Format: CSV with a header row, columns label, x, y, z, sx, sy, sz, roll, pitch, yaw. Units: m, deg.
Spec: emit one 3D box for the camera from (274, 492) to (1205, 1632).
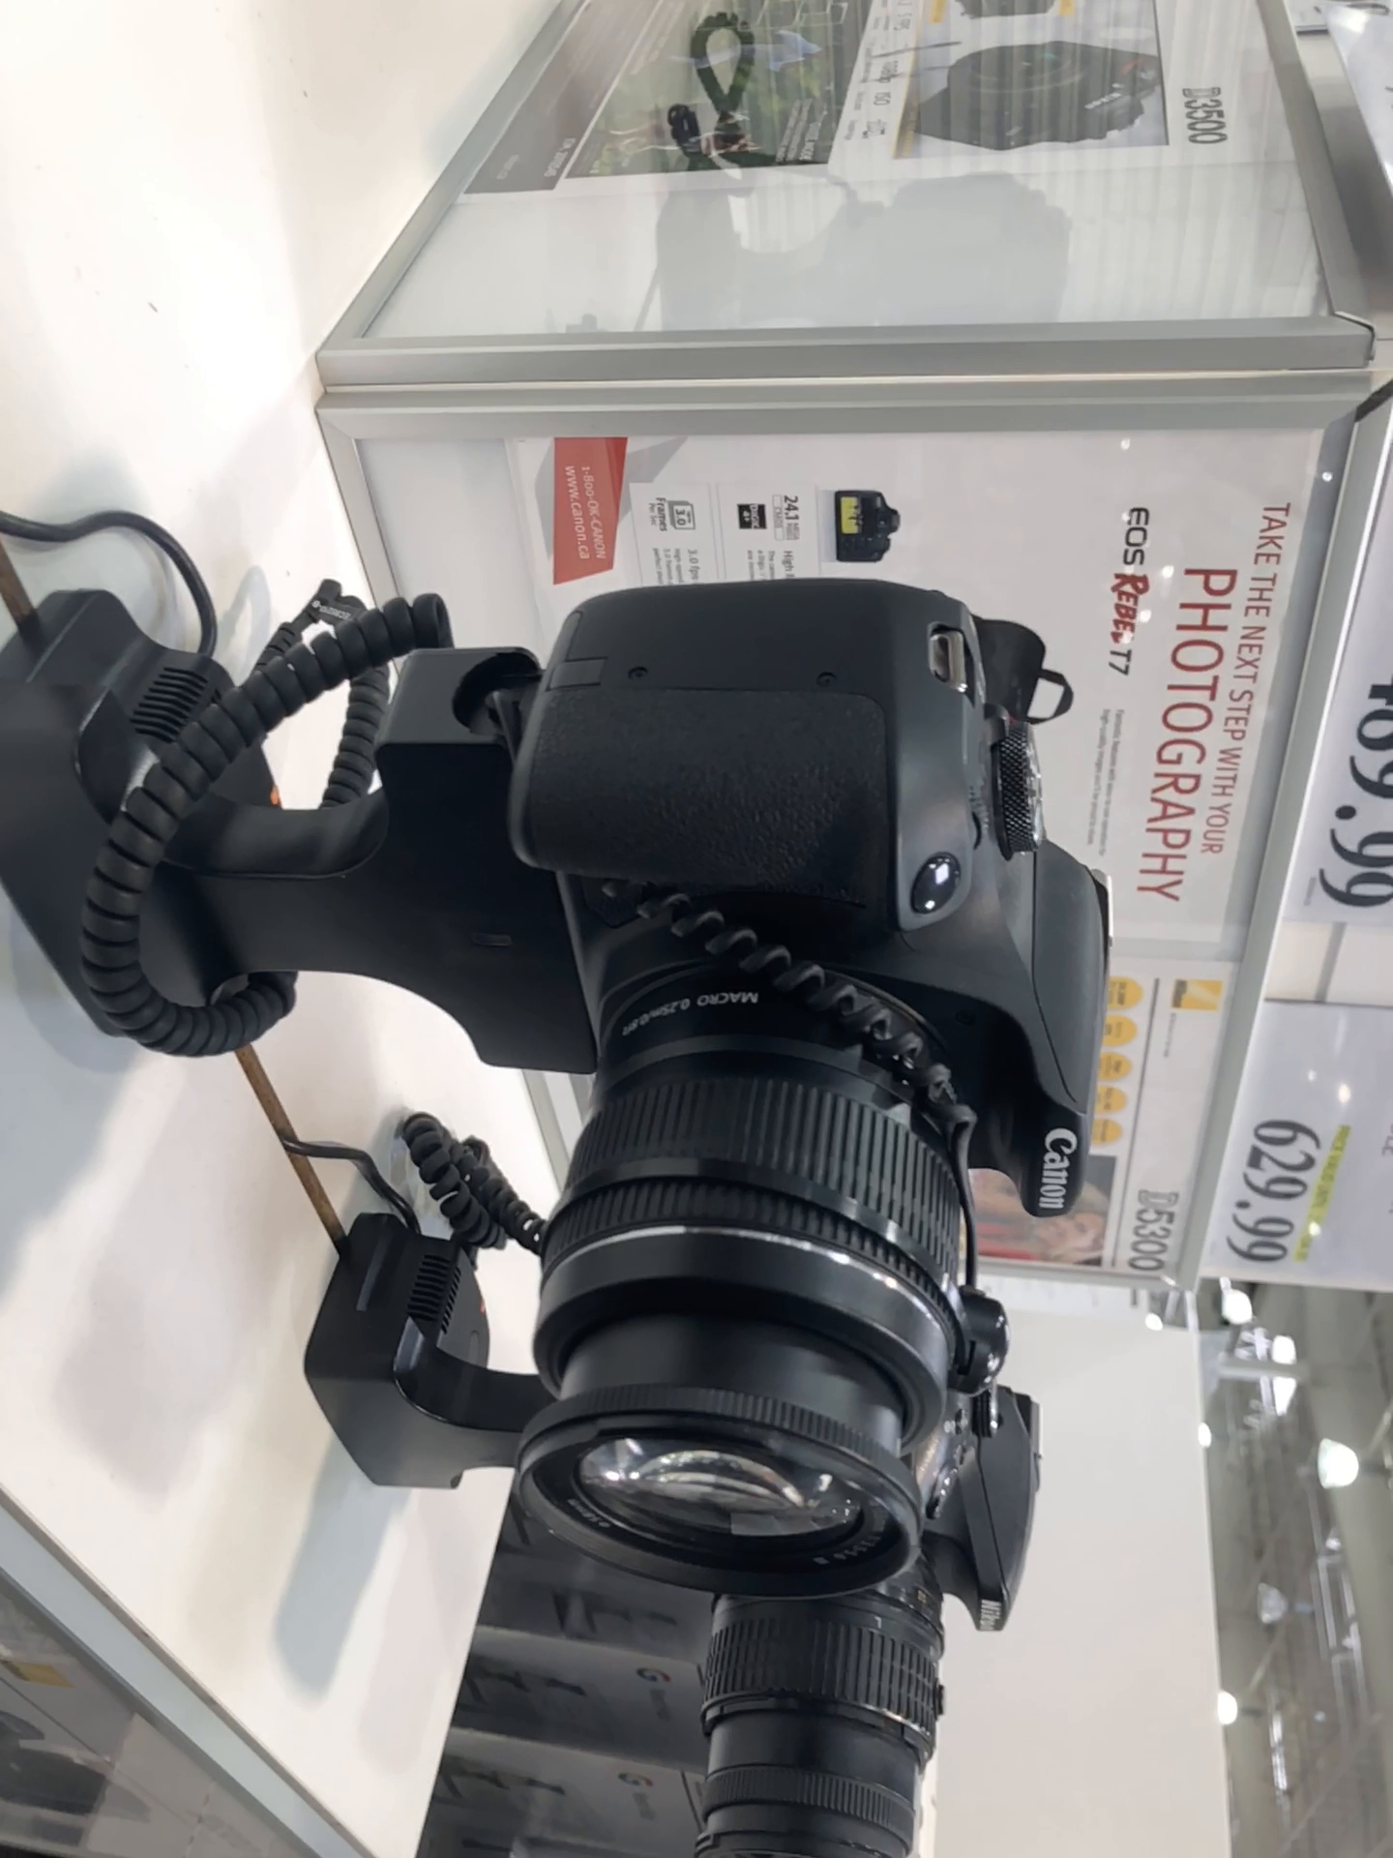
label,x,y,z,sx,sy,sz,roll,pitch,yaw
camera,0.020,0.021,0.276,0.130,0.110,0.150,81,15,-49
